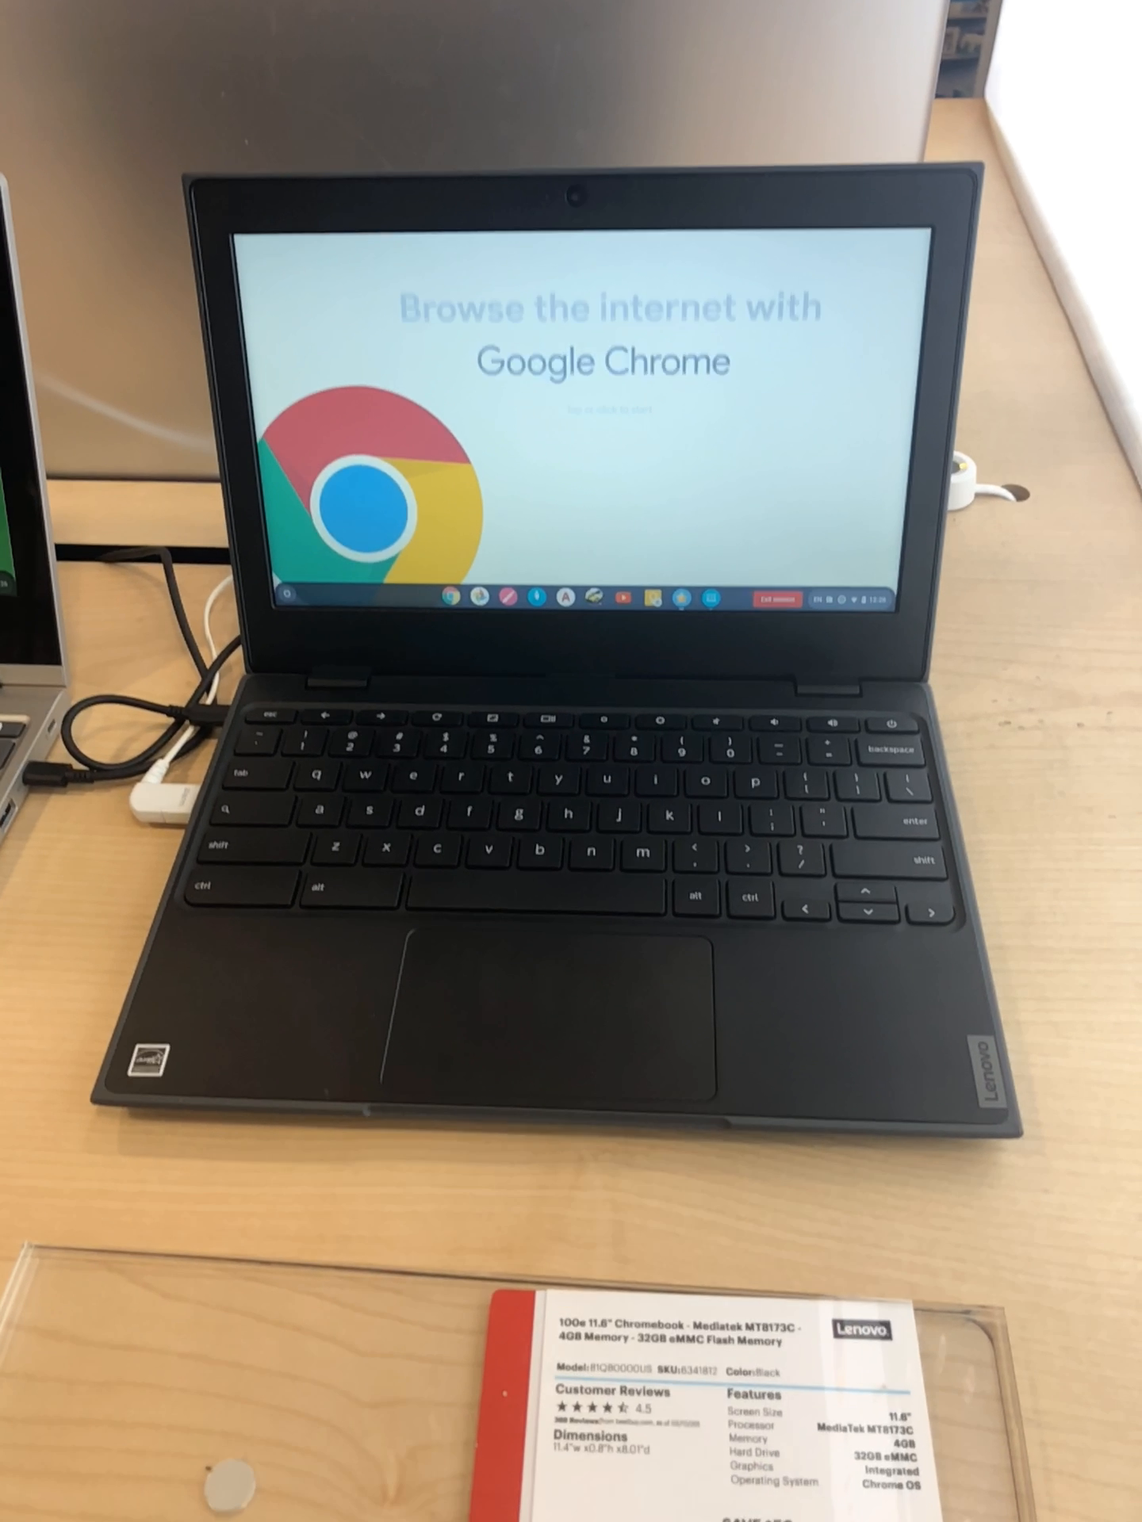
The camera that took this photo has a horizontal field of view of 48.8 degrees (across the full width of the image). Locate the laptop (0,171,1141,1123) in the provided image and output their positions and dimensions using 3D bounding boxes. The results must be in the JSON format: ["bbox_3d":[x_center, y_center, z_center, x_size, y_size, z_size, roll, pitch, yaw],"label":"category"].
[{"bbox_3d":[0.000,-0.048,0.421,0.281,0.178,0.272,0,44,4],"label":"laptop"}]
